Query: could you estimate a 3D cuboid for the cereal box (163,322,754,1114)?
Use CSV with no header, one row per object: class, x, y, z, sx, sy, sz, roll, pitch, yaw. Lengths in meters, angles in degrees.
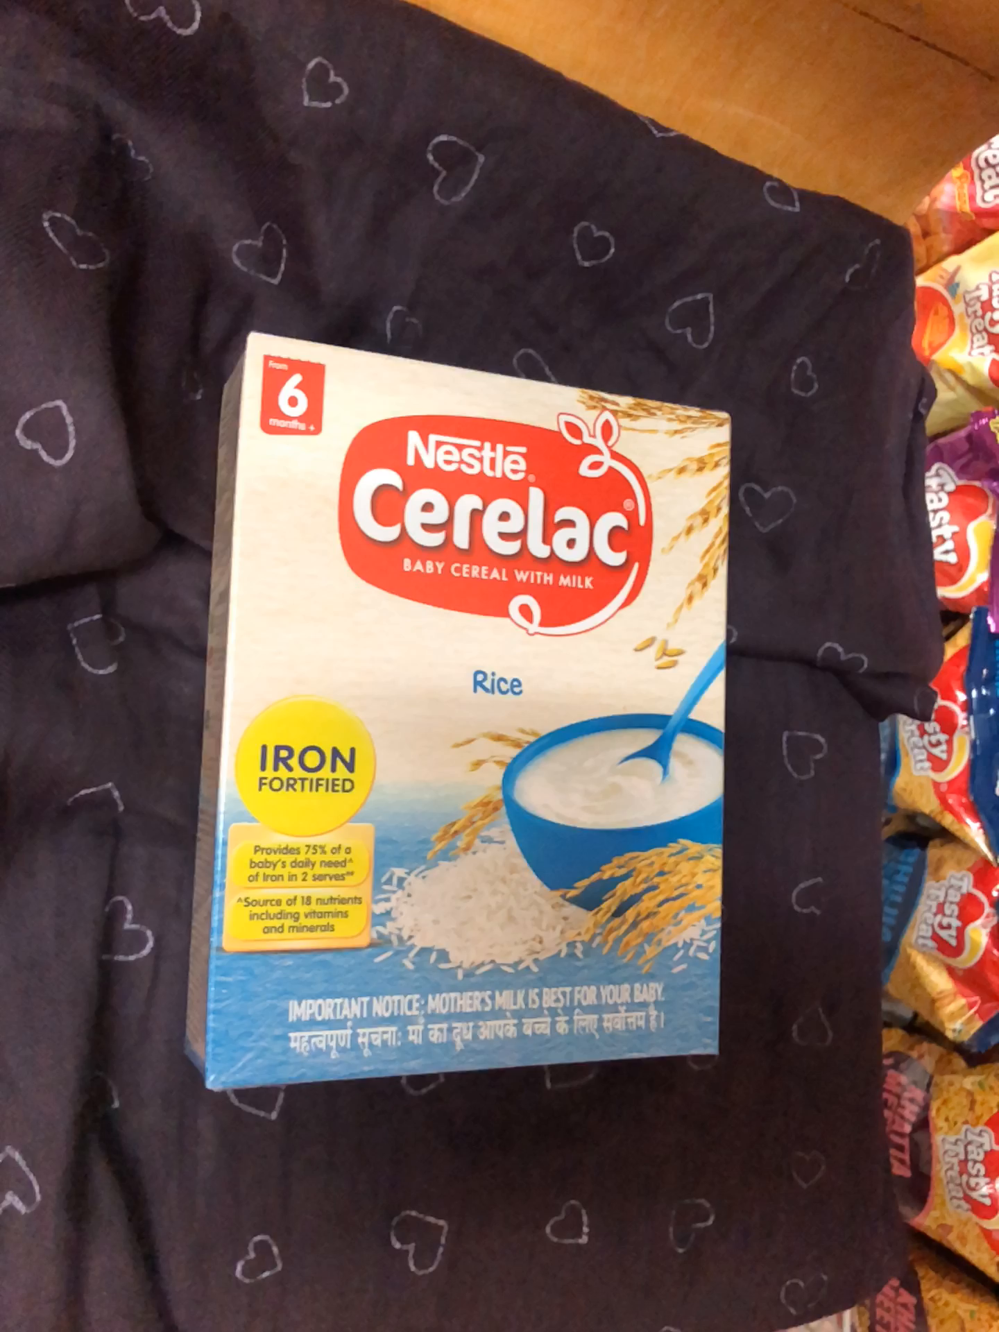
cereal box,-0.011,0.017,0.343,0.160,0.070,0.200,4,85,-22
